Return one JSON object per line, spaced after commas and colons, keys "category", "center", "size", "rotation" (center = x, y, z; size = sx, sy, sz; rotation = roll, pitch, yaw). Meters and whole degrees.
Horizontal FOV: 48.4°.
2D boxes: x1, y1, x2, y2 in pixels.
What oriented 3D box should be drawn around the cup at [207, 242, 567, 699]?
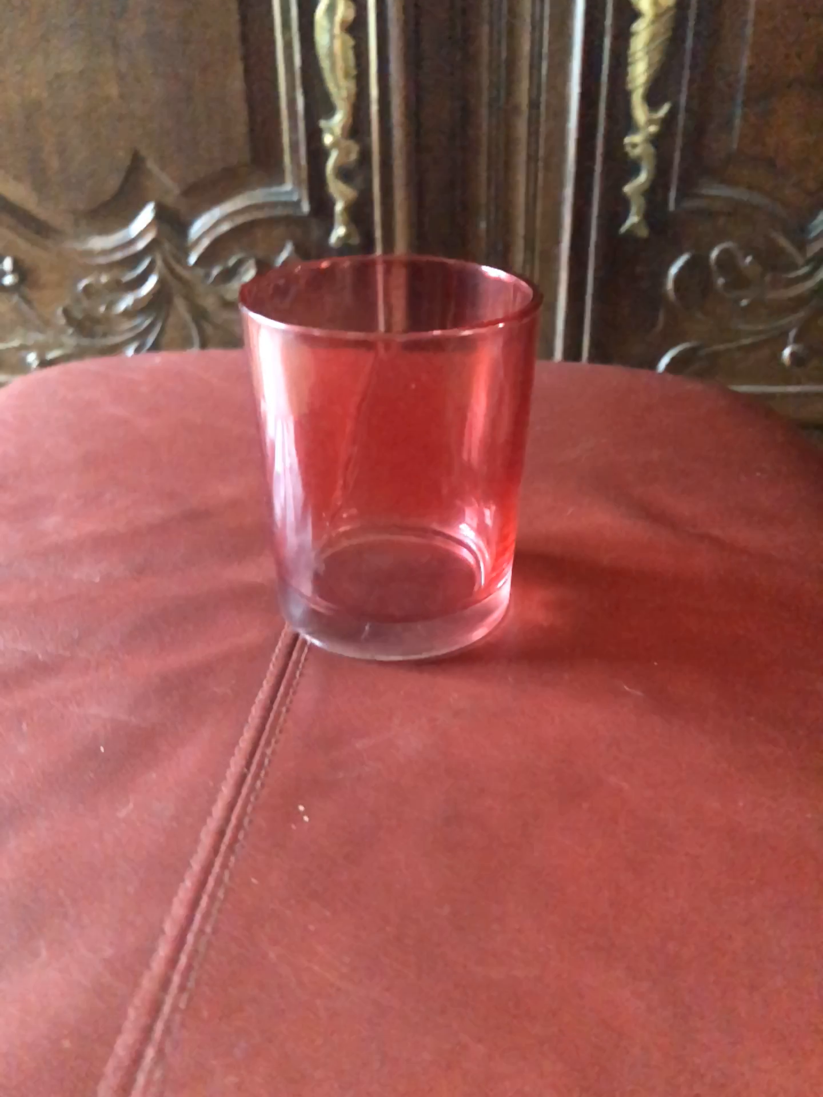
{"category": "cup", "center": [-0.006, -0.022, 0.230], "size": [0.070, 0.089, 0.070], "rotation": [-1, 30, 1]}
